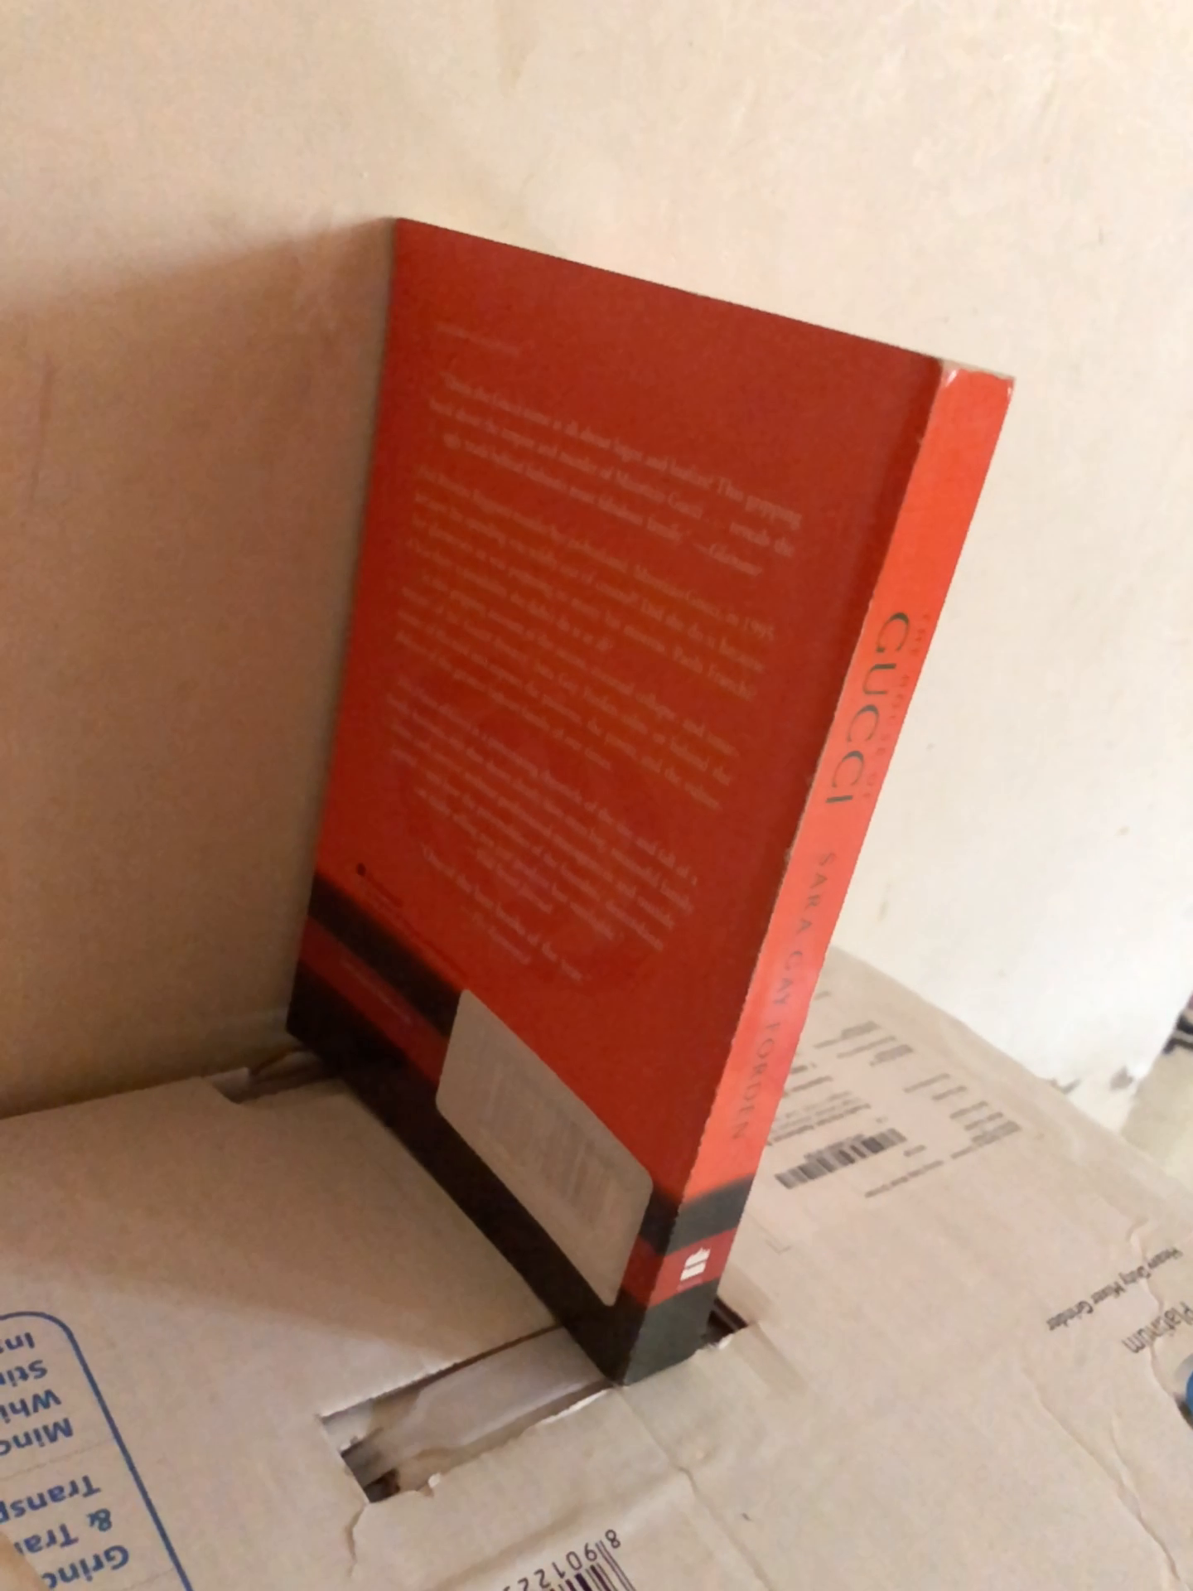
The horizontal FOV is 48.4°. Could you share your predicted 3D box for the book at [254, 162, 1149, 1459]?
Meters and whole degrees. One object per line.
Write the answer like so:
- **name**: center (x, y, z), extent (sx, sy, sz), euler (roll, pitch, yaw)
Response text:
- **book**: center (-0.008, -0.008, 0.312), extent (0.040, 0.229, 0.190), euler (-2, 29, -37)
